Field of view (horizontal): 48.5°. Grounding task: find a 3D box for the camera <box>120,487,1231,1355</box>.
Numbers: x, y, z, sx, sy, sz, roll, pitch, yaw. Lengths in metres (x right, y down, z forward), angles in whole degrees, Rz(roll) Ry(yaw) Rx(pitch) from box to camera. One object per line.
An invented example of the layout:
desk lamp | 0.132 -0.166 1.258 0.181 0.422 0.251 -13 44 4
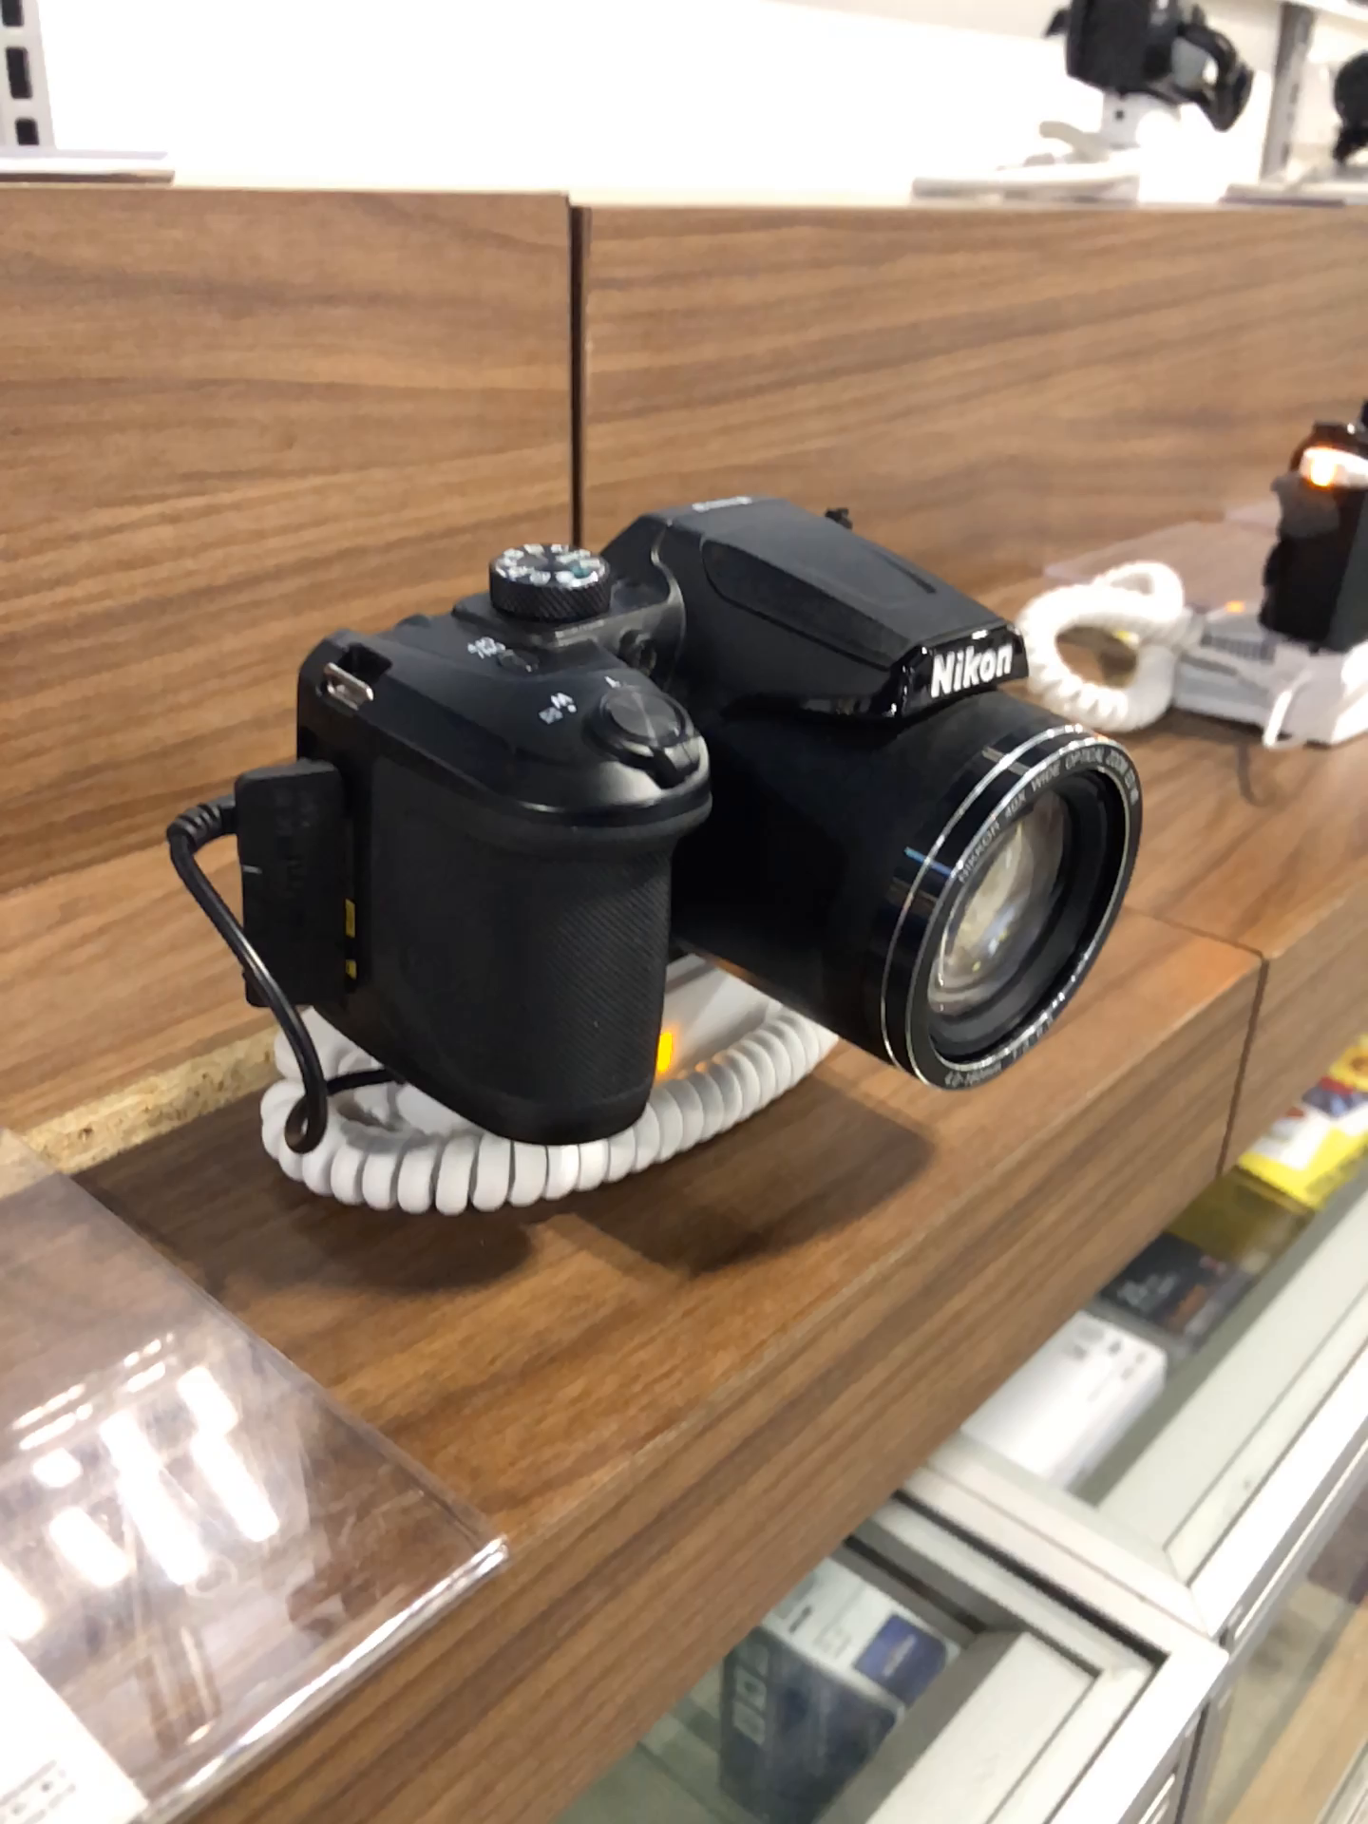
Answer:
camera | 0.004 -0.016 0.235 0.100 0.070 0.130 21 32 36
